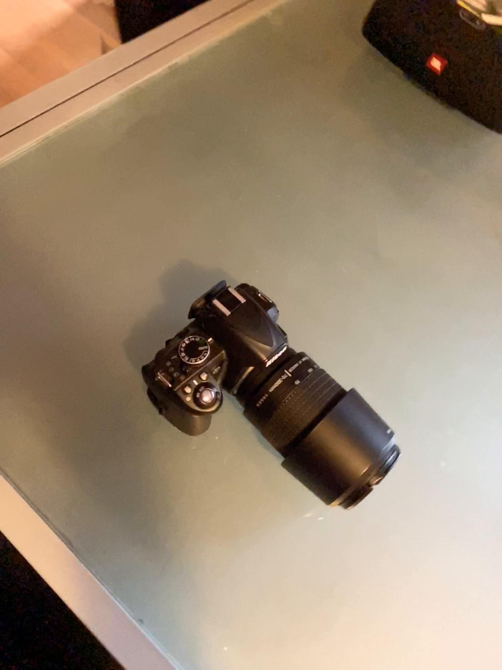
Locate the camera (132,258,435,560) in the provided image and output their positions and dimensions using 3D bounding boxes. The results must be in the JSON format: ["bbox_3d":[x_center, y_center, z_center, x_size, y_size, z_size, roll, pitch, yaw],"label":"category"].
[{"bbox_3d":[0.018,0.059,0.412,0.188,0.094,0.124,43,66,11],"label":"camera"}]
